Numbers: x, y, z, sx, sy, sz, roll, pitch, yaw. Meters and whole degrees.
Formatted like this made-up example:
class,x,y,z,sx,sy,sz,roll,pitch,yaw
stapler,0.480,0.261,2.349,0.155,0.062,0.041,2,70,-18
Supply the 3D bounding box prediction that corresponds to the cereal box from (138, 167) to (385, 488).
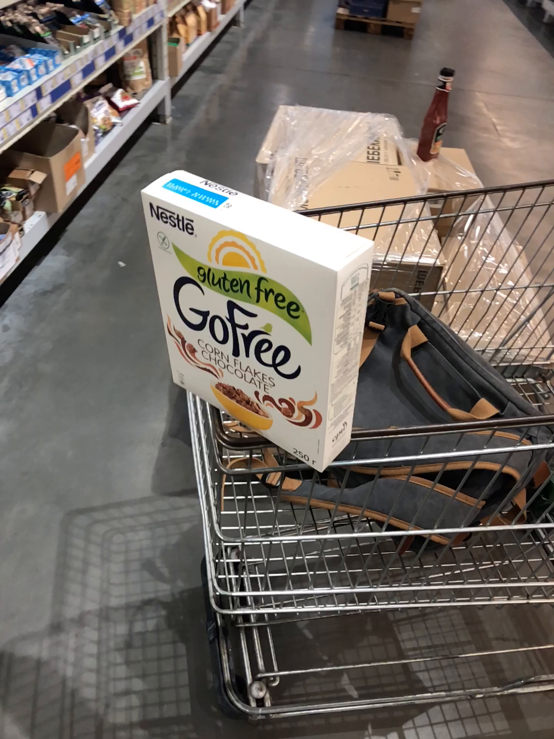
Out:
class,x,y,z,sx,sy,sz,roll,pitch,yaw
cereal box,-0.019,-0.033,0.534,0.200,0.228,0.050,28,48,27
